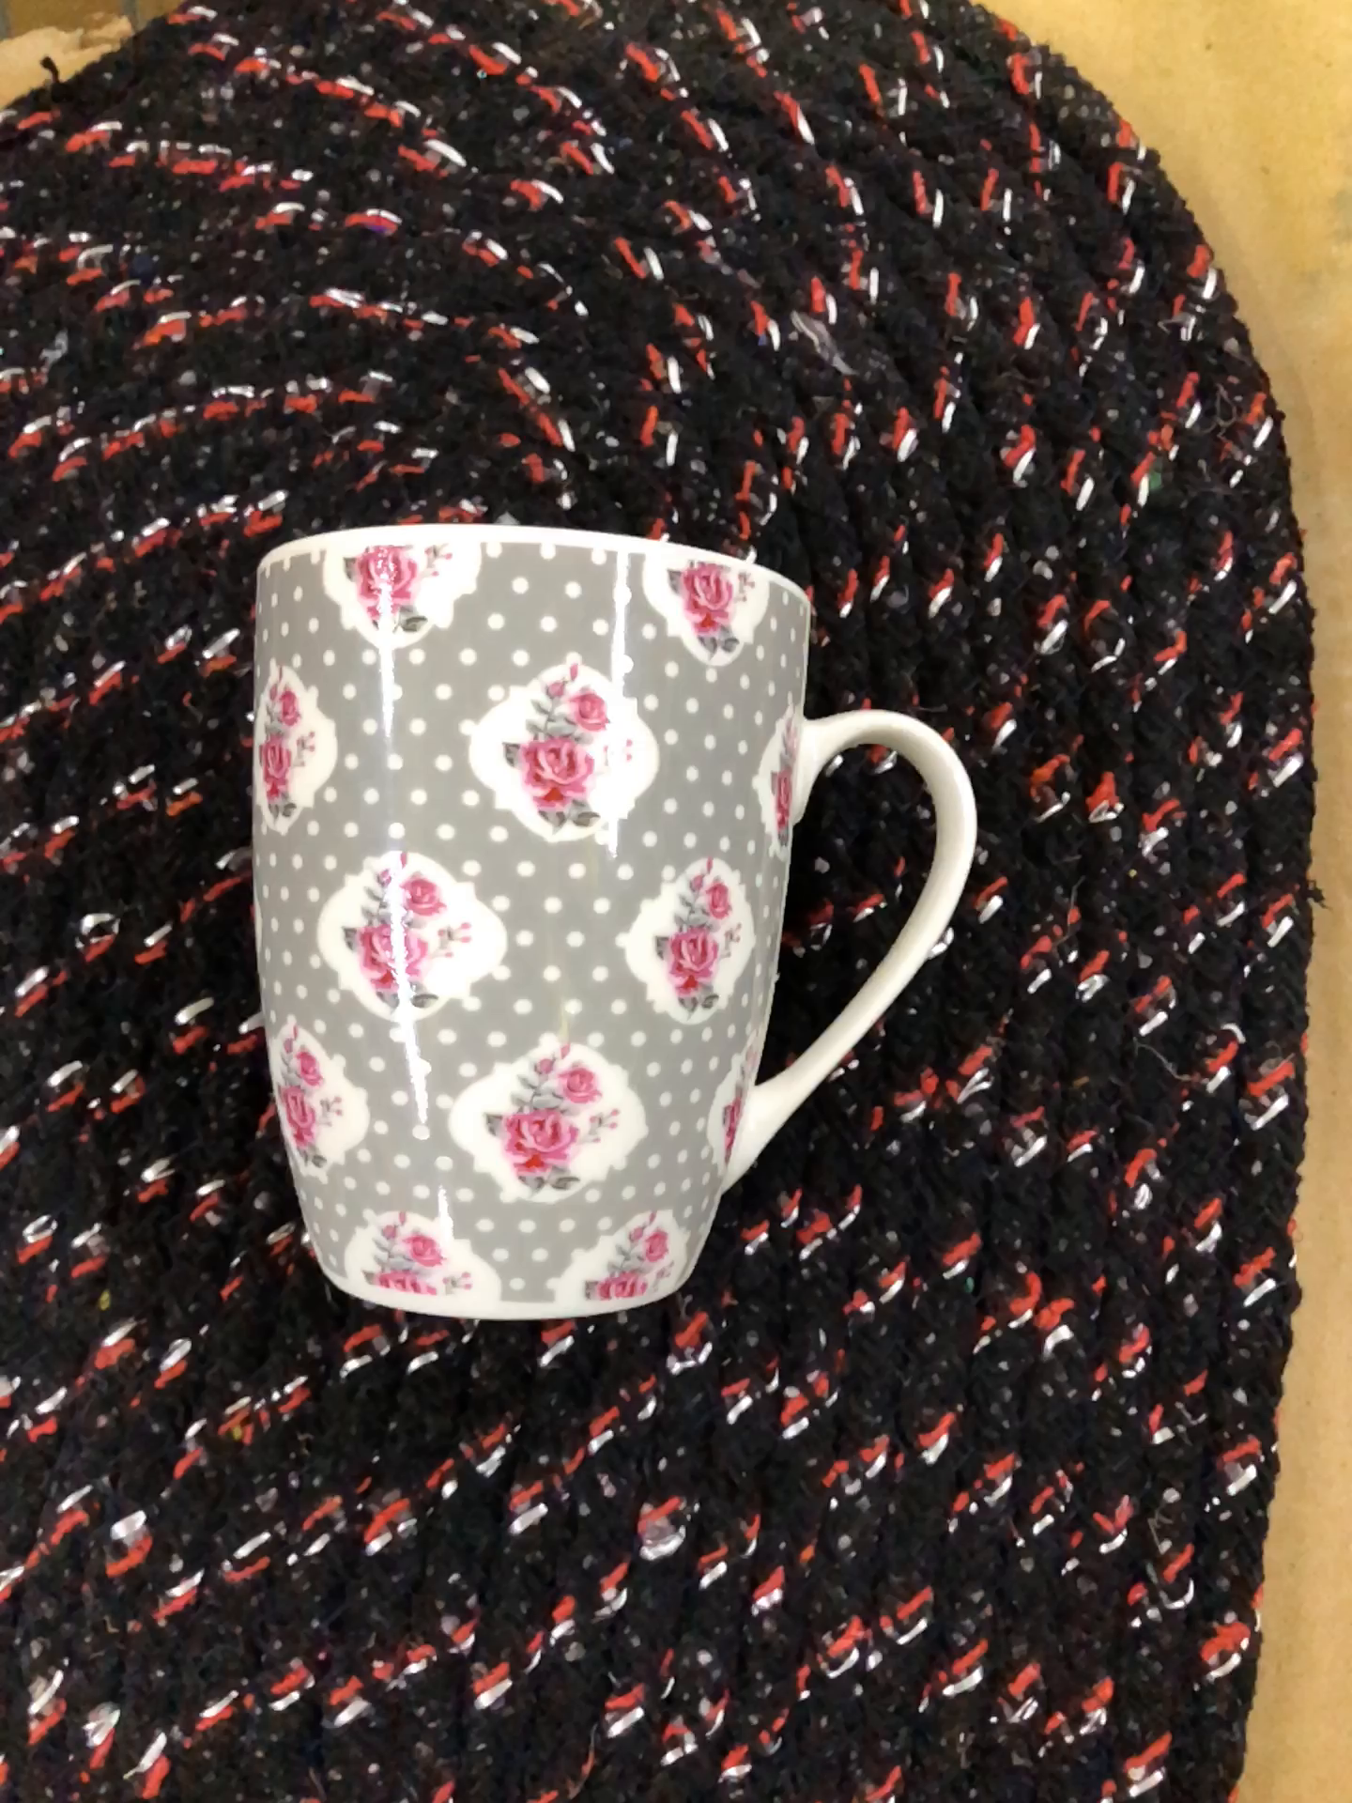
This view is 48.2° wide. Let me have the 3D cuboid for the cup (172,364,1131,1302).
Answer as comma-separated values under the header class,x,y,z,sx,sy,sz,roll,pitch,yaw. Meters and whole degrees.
class,x,y,z,sx,sy,sz,roll,pitch,yaw
cup,-0.011,-0.006,0.220,0.110,0.090,0.100,-1,93,-17
